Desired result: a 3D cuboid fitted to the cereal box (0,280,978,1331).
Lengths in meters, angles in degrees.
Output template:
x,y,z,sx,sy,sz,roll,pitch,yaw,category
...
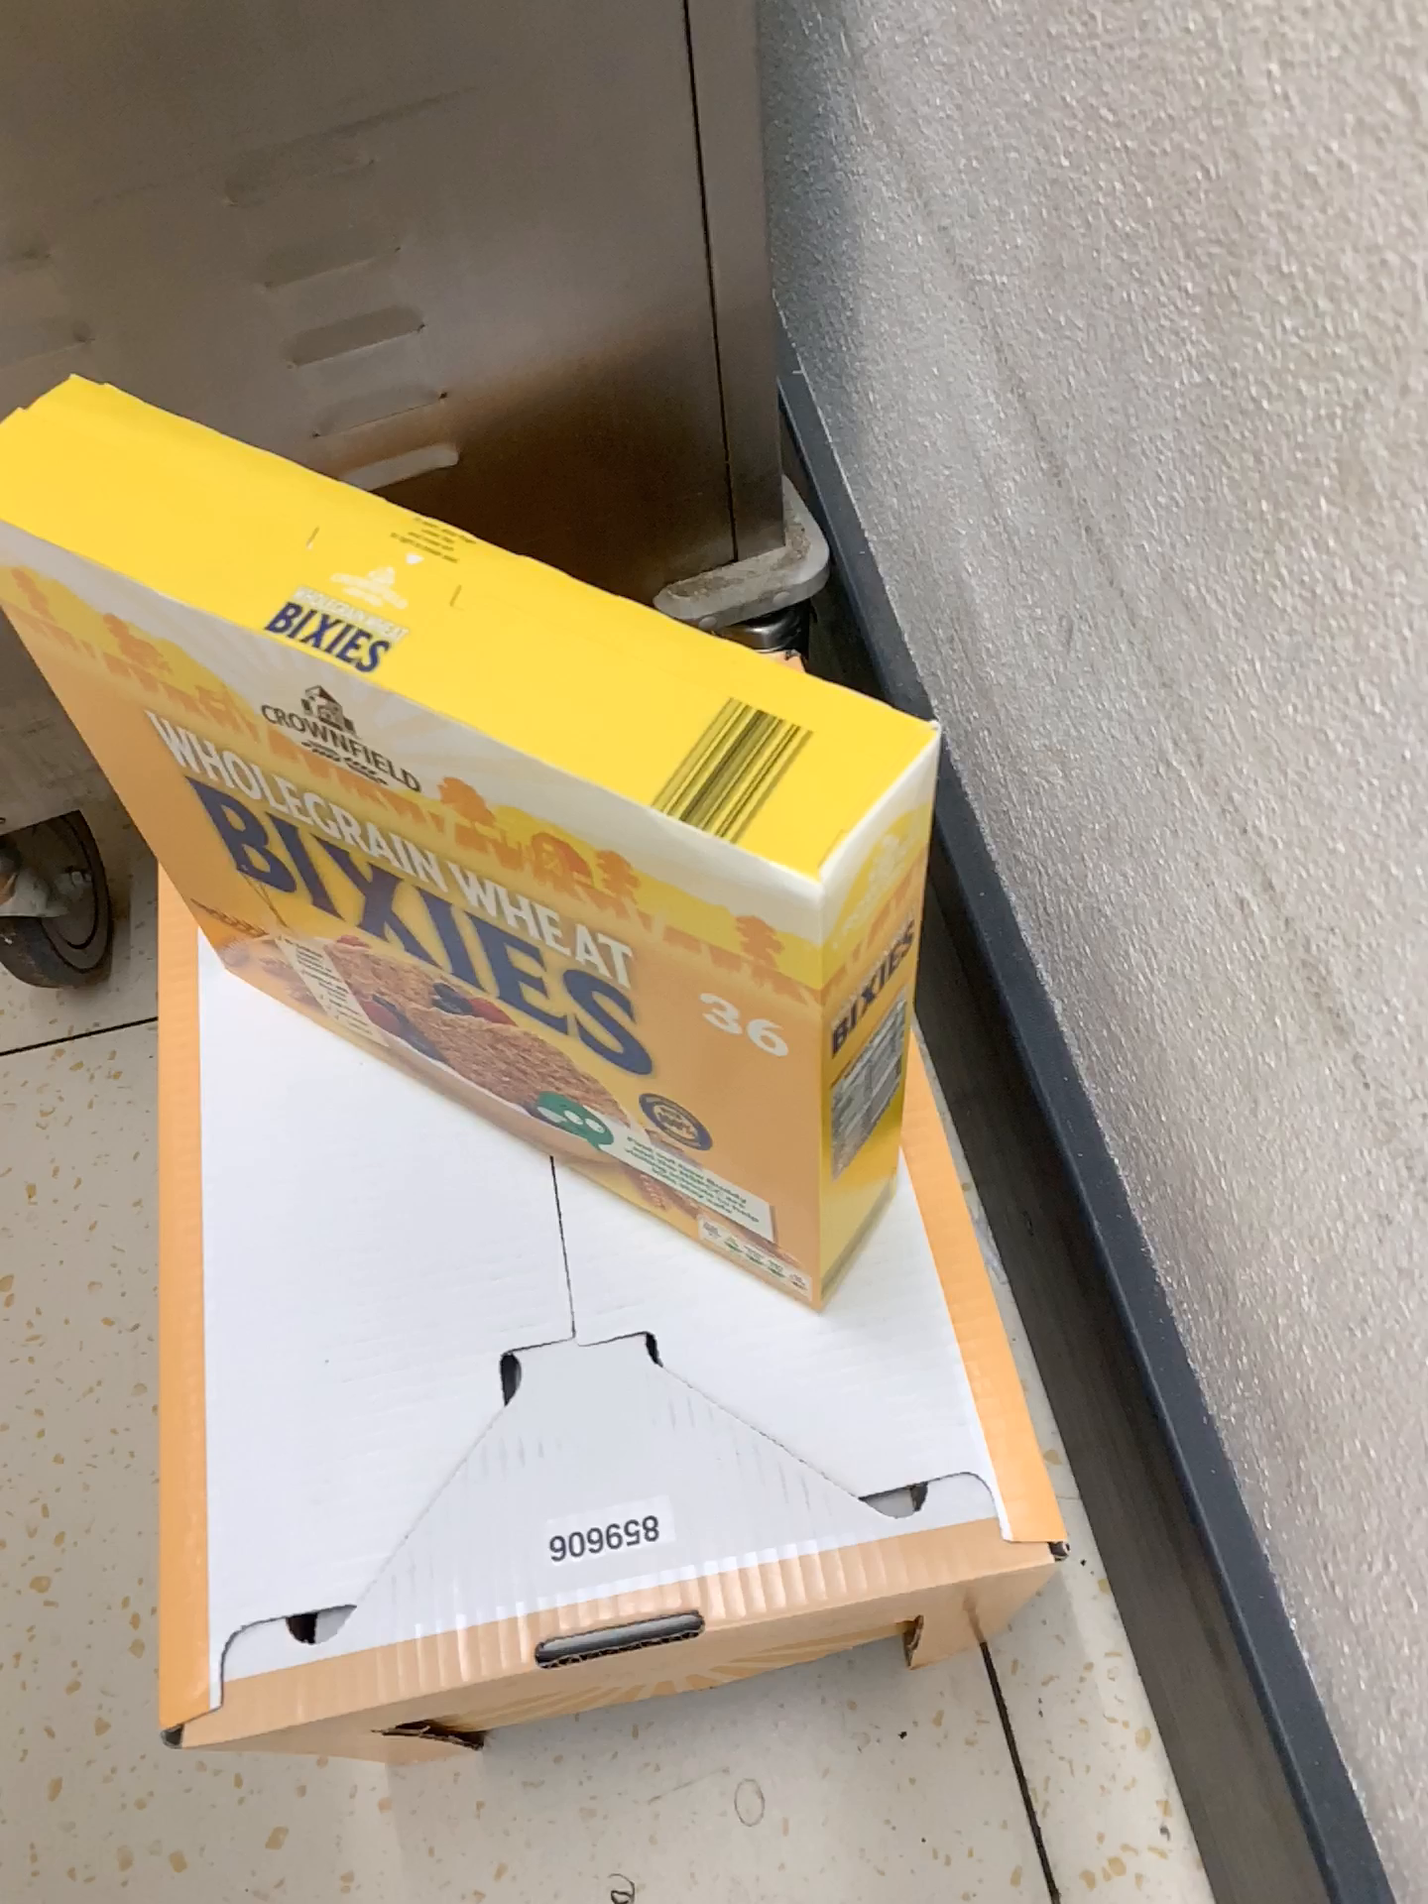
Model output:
x,y,z,sx,sy,sz,roll,pitch,yaw,category
-0.075,-0.025,0.454,0.291,0.278,0.070,26,65,20,cereal box
